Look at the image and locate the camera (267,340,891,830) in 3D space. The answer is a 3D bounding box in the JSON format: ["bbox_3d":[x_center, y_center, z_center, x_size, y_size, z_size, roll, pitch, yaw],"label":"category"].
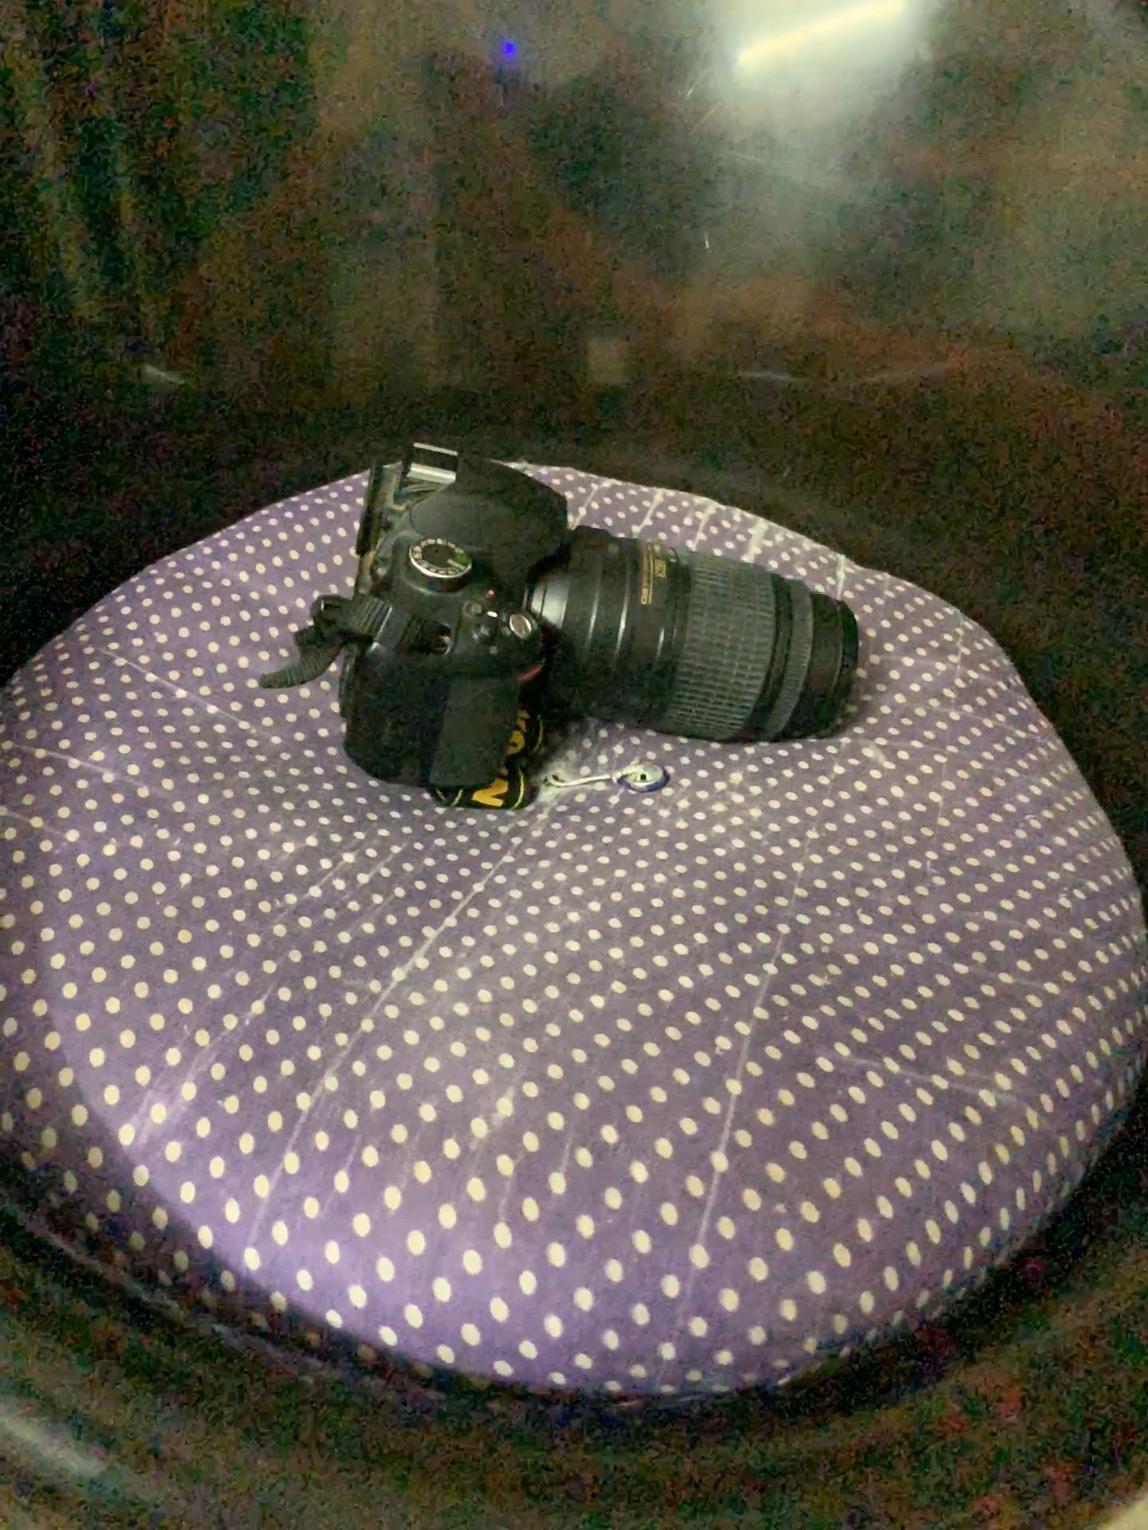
[{"bbox_3d":[-0.006,-0.071,0.464,0.200,0.100,0.141,8,39,-12],"label":"camera"}]
